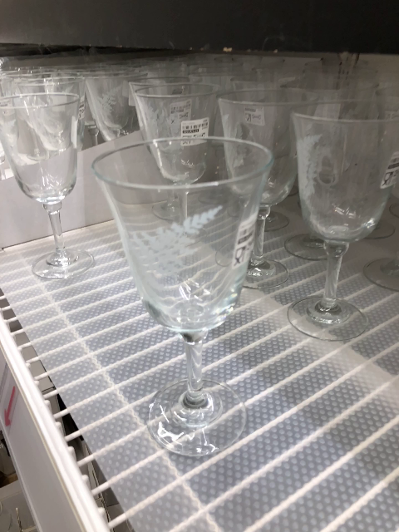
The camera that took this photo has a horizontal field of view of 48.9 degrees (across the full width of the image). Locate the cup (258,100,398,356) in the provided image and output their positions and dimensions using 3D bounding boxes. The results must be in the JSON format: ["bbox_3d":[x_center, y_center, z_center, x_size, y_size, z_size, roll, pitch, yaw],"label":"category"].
[{"bbox_3d":[0.109,-0.033,0.328,0.089,0.155,0.087,-1,27,1],"label":"cup"}]

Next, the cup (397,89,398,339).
[{"bbox_3d":[0.215,-0.042,0.302,0.086,0.136,0.090,-1,28,1],"label":"cup"}]

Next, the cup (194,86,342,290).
[{"bbox_3d":[0.056,-0.072,0.381,0.086,0.146,0.080,-1,27,1],"label":"cup"}]

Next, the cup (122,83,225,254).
[{"bbox_3d":[-0.021,-0.098,0.433,0.069,0.146,0.066,-1,27,1],"label":"cup"}]

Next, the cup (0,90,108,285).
[{"bbox_3d":[-0.128,-0.071,0.399,0.069,0.156,0.067,-1,27,1],"label":"cup"}]

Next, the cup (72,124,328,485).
[{"bbox_3d":[-0.002,0.014,0.241,0.086,0.156,0.090,-1,27,1],"label":"cup"}]

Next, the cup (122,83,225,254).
[{"bbox_3d":[-0.021,-0.098,0.433,0.069,0.146,0.066,-1,27,1],"label":"cup"}]
